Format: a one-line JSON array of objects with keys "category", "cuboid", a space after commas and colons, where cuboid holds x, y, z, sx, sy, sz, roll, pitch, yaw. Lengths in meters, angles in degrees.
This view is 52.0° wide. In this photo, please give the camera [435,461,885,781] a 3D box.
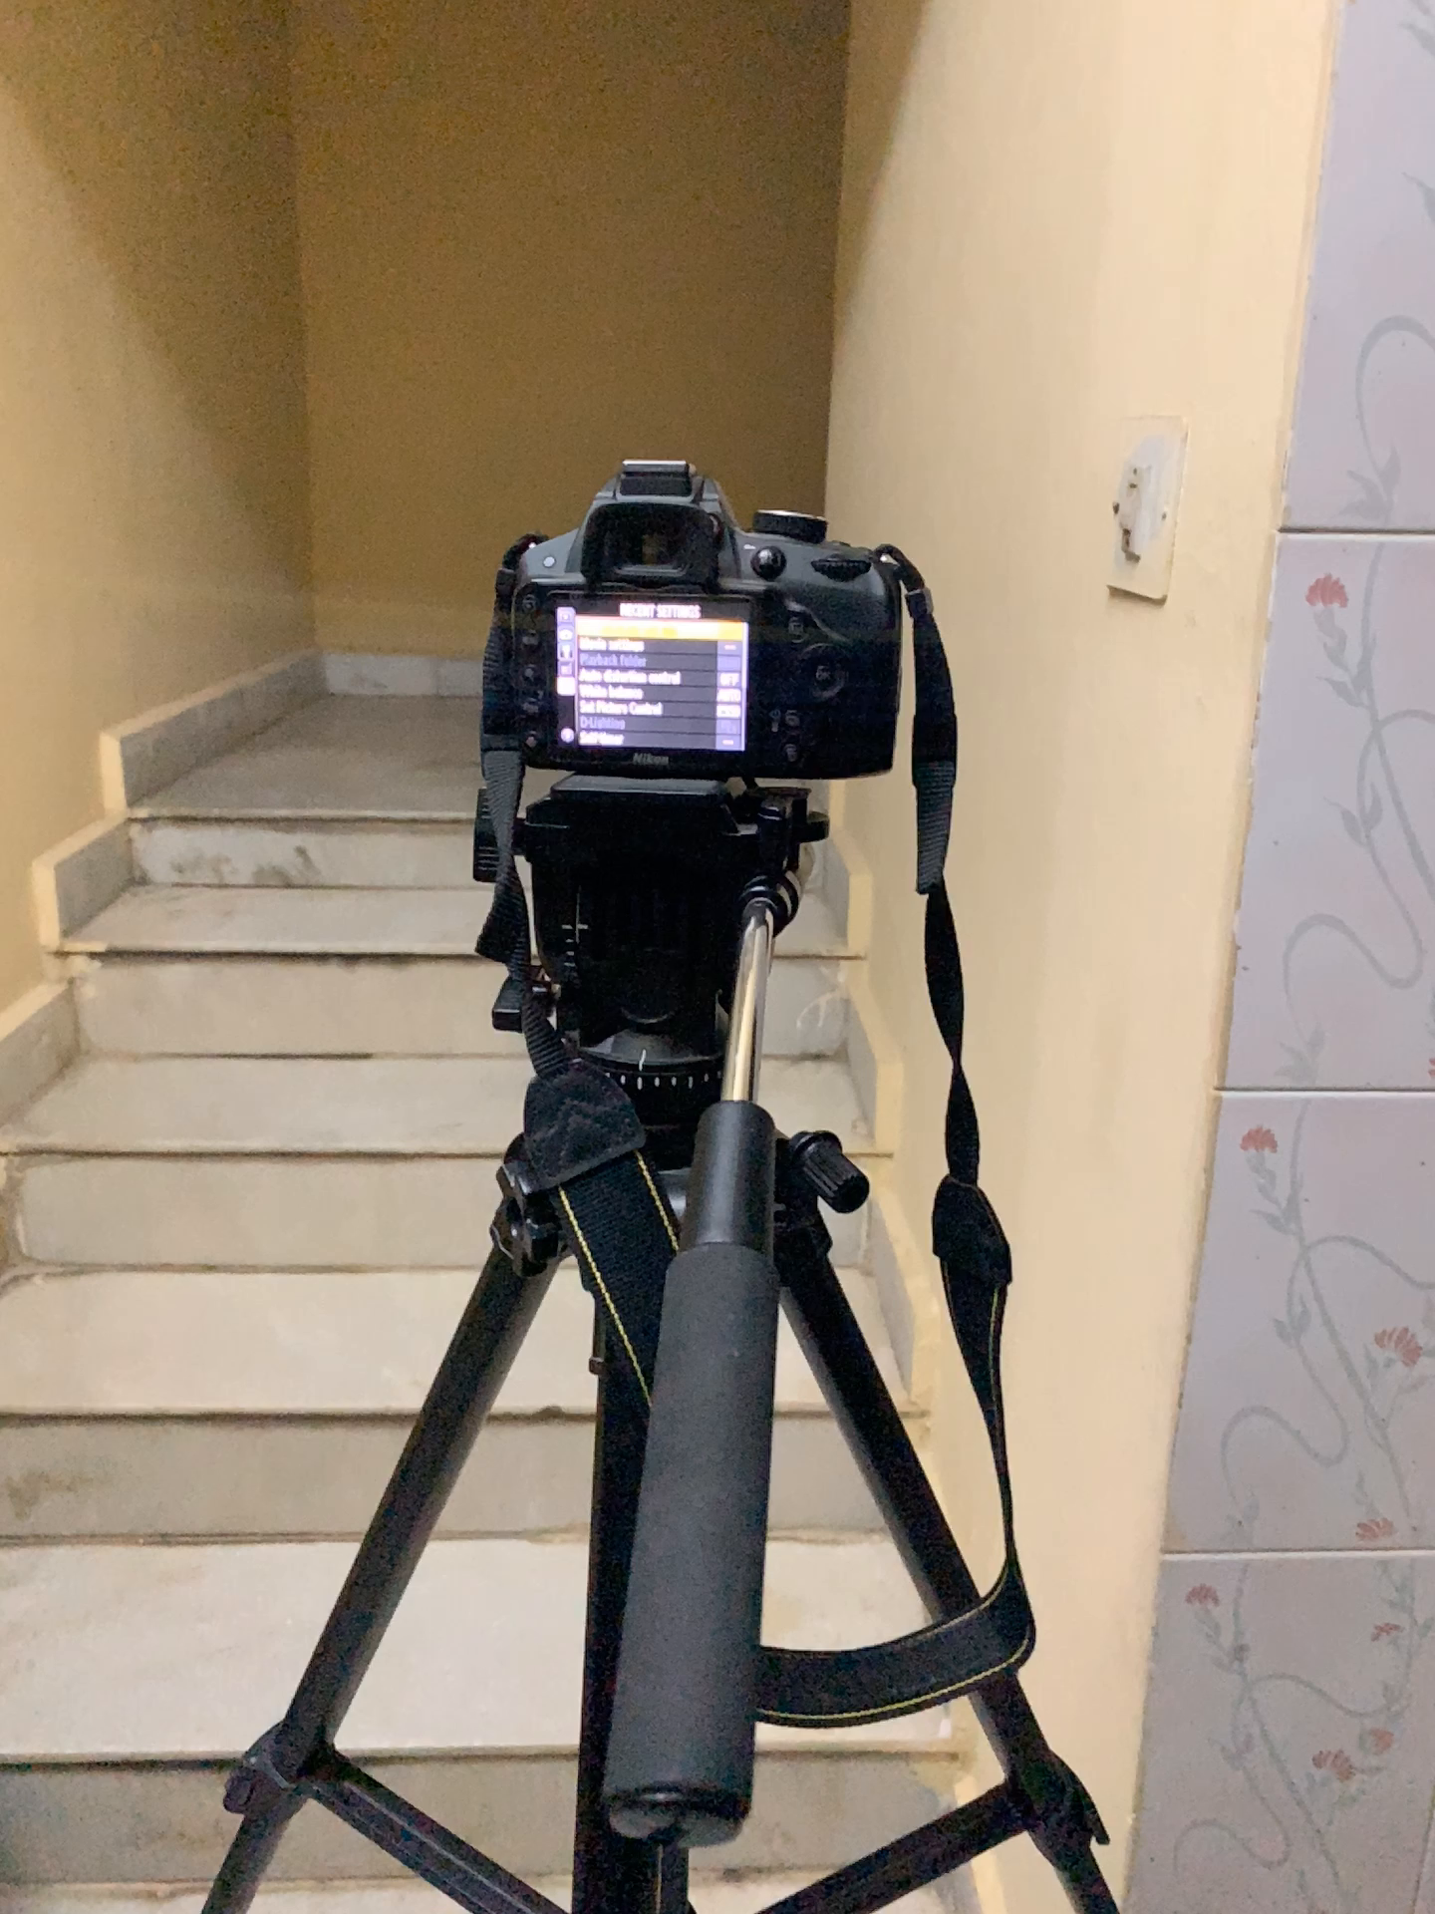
[{"category": "camera", "cuboid": [-0.013, -0.118, 0.507, 0.134, 0.090, 0.130, 3, 15, 5]}]
